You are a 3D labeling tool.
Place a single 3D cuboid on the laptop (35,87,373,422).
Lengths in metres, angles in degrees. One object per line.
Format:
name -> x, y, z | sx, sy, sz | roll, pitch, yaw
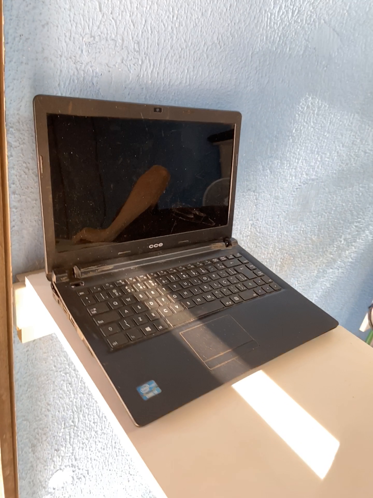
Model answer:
laptop -> 0.021, -0.042, 0.507 | 0.334, 0.211, 0.313 | -11, 37, -36
